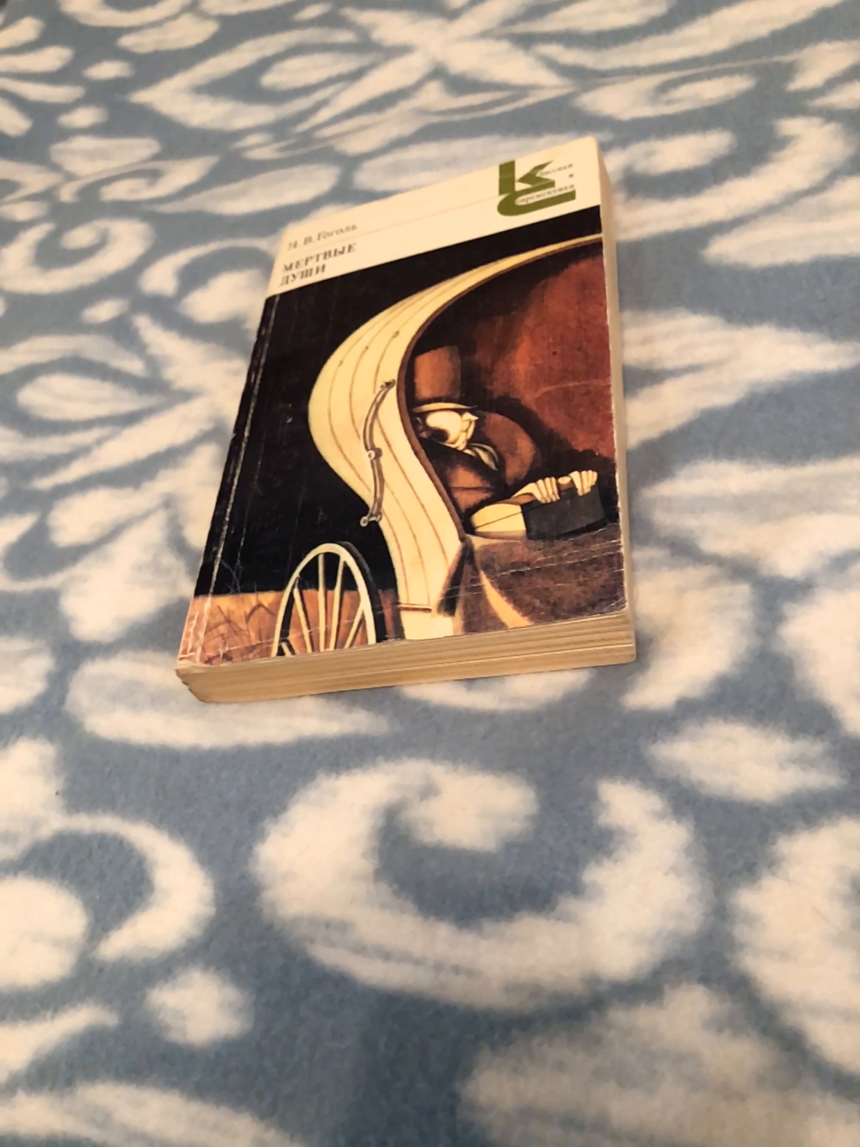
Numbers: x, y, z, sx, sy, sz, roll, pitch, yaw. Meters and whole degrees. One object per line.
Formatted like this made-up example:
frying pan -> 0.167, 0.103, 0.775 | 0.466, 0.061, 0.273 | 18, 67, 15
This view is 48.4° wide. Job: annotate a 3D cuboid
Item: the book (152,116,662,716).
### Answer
book -> -0.002, -0.058, 0.294 | 0.126, 0.025, 0.200 | -9, 52, 18
